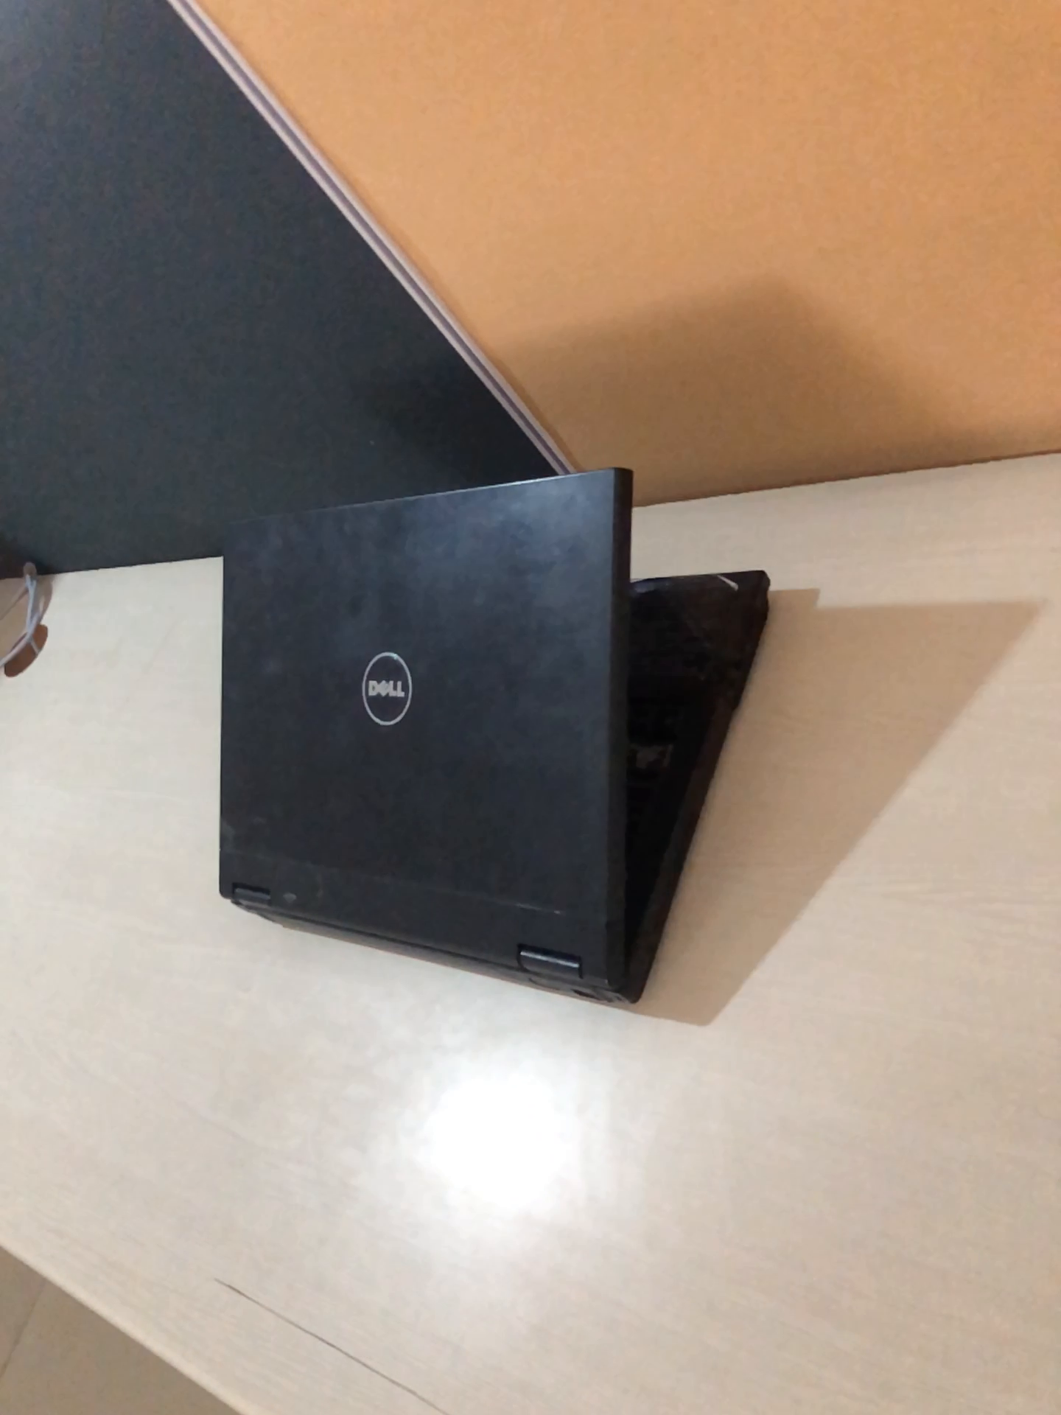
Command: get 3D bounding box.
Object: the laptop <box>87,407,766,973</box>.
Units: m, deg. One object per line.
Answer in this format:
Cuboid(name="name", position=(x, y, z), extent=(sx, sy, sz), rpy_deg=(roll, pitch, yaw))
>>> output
Cuboid(name="laptop", position=(-0.062, -0.010, 0.636), extent=(0.303, 0.126, 0.225), rpy_deg=(1, 59, 42))
